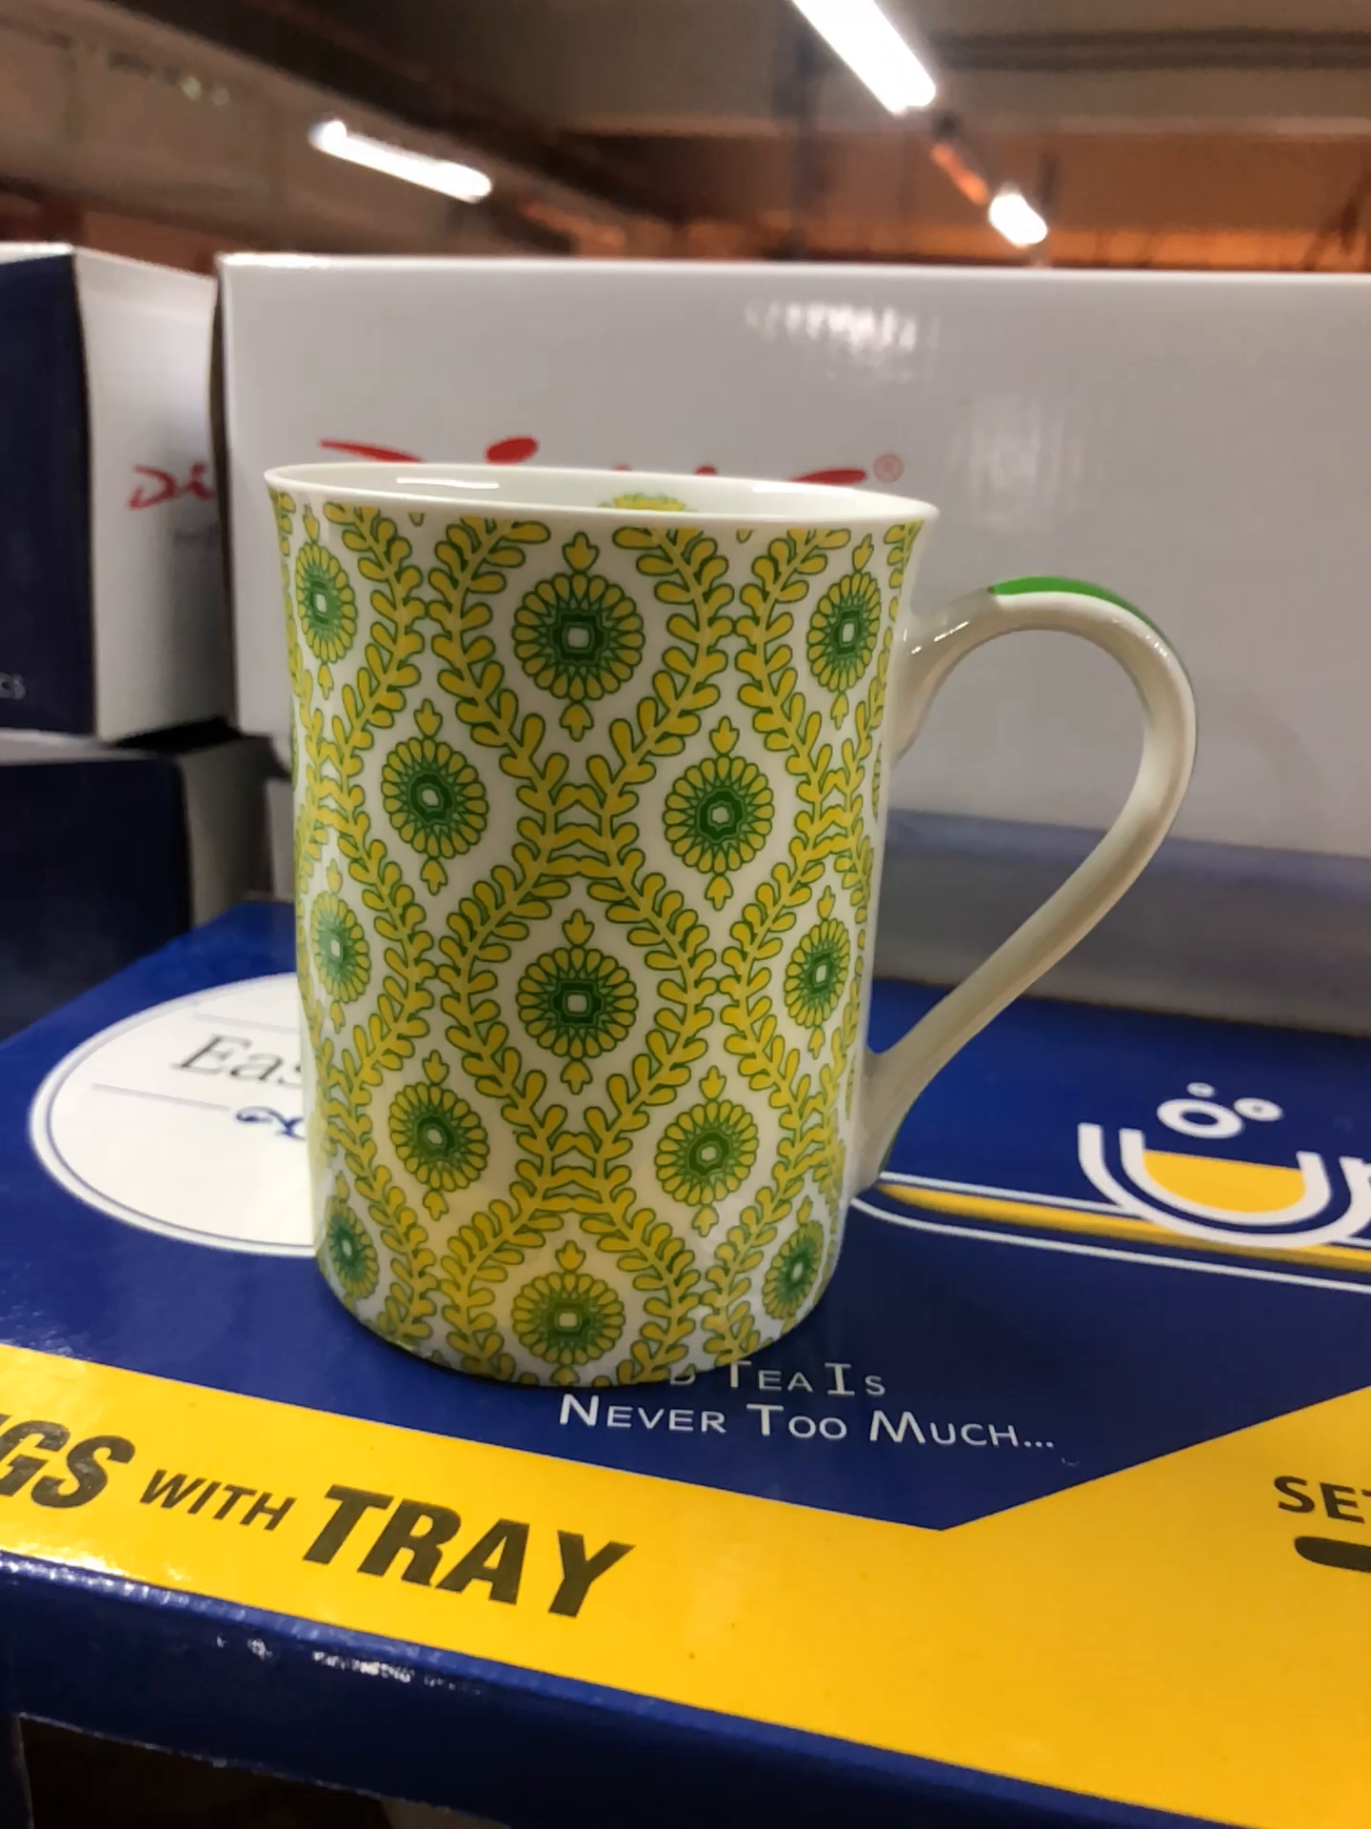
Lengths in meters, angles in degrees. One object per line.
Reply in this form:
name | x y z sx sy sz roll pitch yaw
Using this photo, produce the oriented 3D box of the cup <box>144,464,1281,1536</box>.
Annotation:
cup | 0.005 -0.001 0.177 0.100 0.090 0.070 8 18 15
